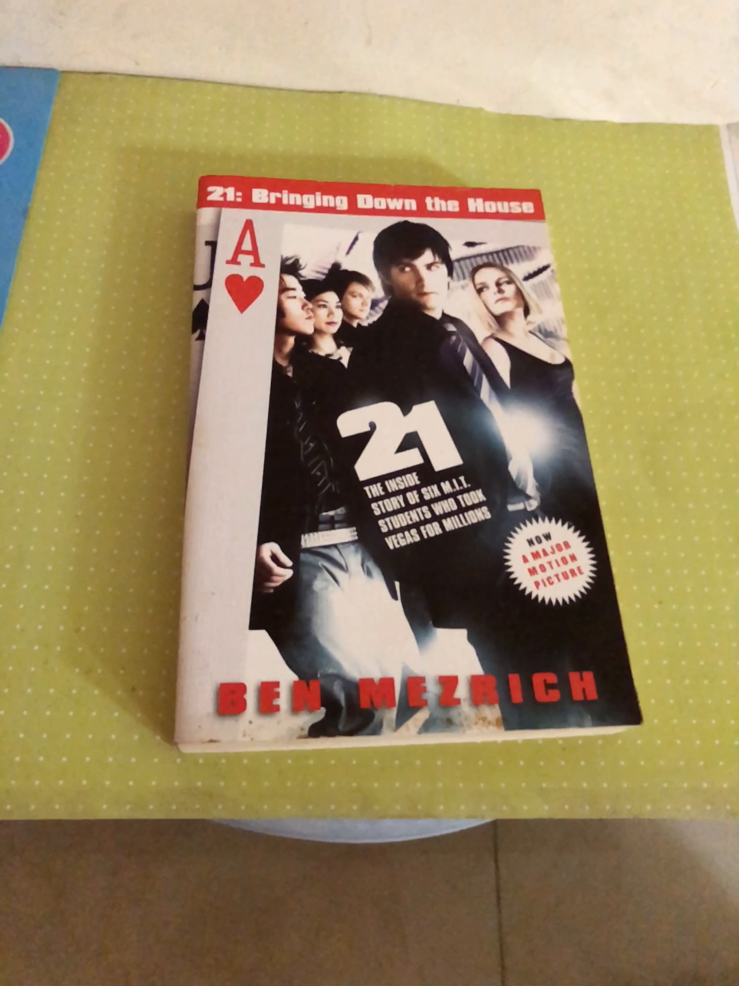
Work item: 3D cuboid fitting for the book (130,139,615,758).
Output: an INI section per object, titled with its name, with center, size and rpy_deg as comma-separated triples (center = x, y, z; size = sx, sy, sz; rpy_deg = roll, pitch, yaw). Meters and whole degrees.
[book]
center = -0.009, -0.027, 0.282
size = 0.130, 0.040, 0.210
rpy_deg = -3, 65, -8
